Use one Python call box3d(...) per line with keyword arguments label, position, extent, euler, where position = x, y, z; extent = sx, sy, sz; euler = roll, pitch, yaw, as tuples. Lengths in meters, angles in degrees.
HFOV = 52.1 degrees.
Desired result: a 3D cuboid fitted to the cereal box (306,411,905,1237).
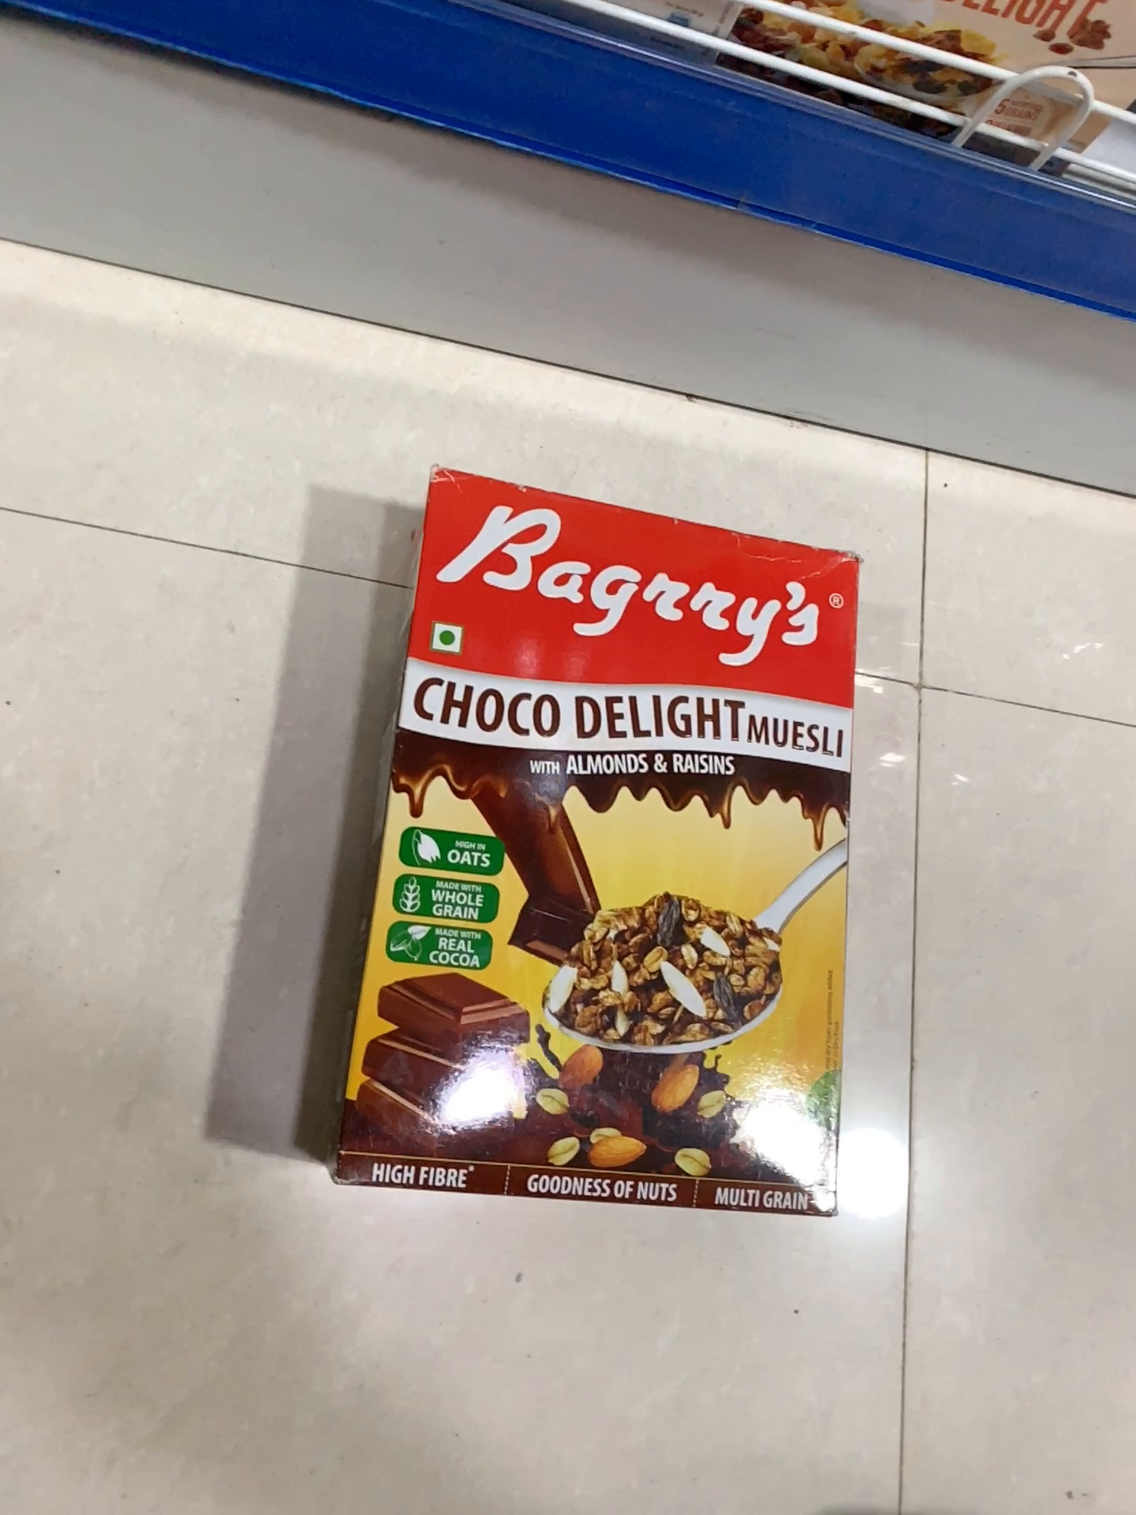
box3d(label="cereal box", position=(0.020, 0.029, 0.462), extent=(0.200, 0.080, 0.280), euler=(9, 75, -13))
